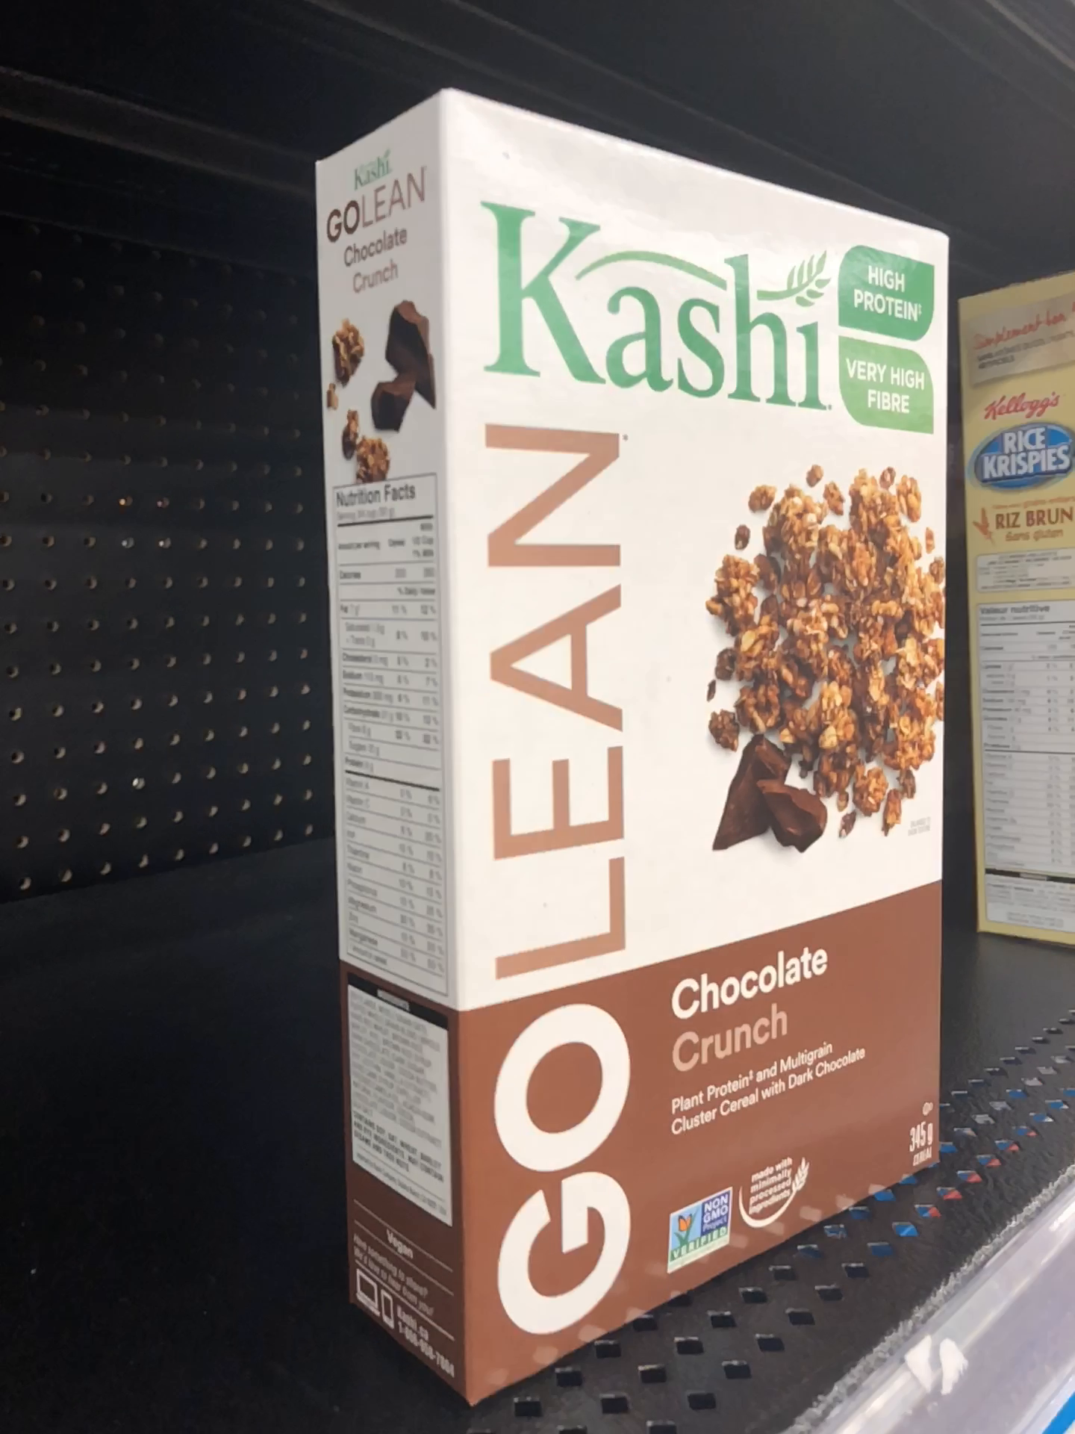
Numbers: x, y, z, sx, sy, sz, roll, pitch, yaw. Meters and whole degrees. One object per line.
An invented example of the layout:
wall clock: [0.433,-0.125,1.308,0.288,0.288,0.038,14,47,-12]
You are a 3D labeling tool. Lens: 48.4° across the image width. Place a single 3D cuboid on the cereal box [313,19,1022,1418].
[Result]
cereal box: [0.042,-0.001,0.288,0.180,0.250,0.050,-5,7,-38]
